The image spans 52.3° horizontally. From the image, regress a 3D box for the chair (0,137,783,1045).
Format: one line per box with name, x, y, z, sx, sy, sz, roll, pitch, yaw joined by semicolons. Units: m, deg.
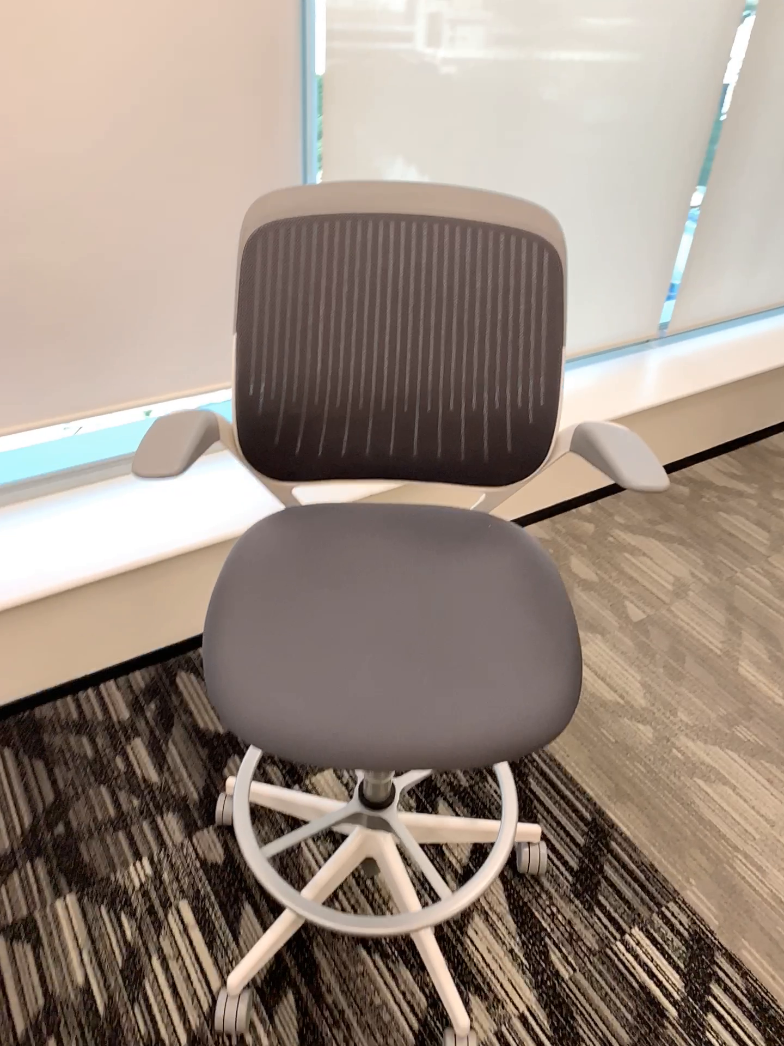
chair;-0.061;0.167;1.138;0.690;1.140;0.696;4;36;0
